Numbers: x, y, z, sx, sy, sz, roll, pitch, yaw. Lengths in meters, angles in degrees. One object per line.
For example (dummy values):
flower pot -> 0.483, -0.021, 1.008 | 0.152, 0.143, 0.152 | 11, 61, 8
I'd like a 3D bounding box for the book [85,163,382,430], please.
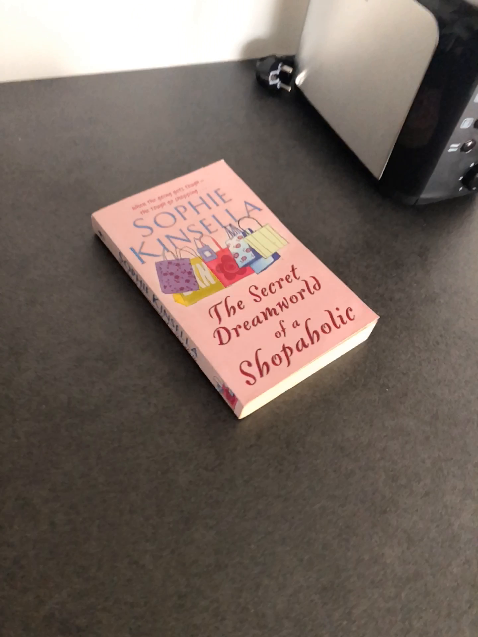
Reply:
book -> -0.009, -0.032, 0.408 | 0.131, 0.030, 0.200 | -29, 64, -28
